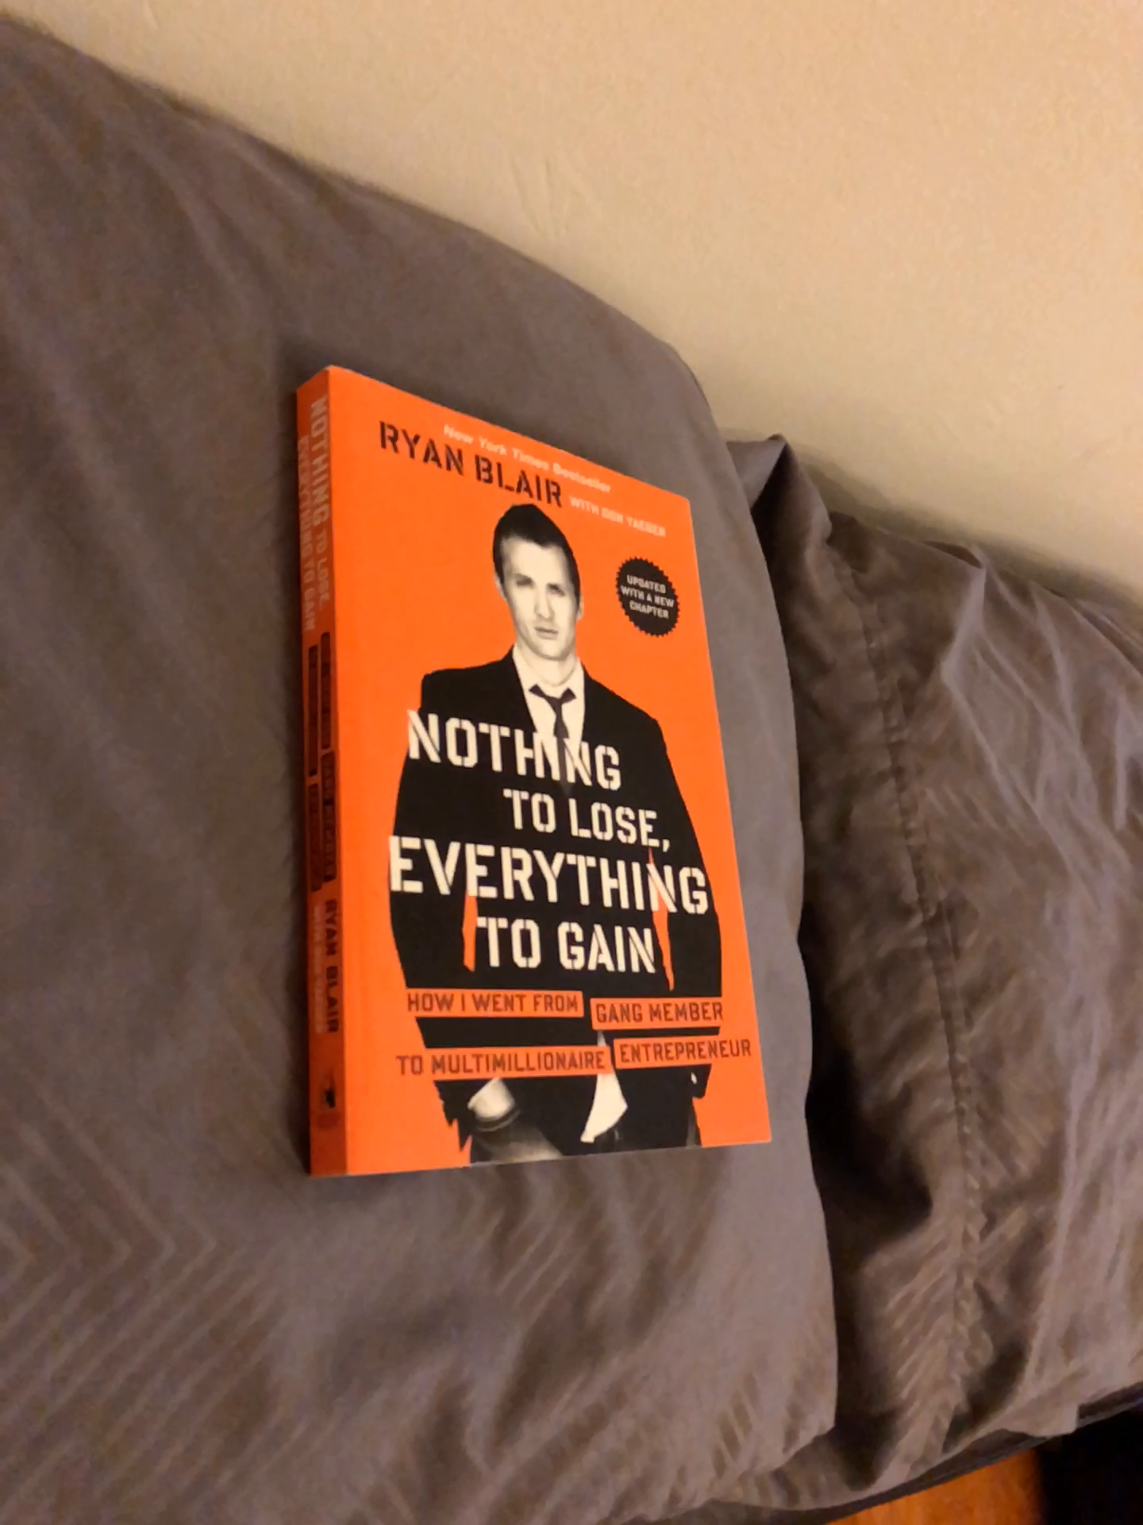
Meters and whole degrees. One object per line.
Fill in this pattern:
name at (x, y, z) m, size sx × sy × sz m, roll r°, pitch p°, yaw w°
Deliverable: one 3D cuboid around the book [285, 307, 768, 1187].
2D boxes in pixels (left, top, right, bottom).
book at (-0.011, -0.003, 0.370) m, size 0.151 × 0.020 × 0.230 m, roll 12°, pitch 66°, yaw -42°
